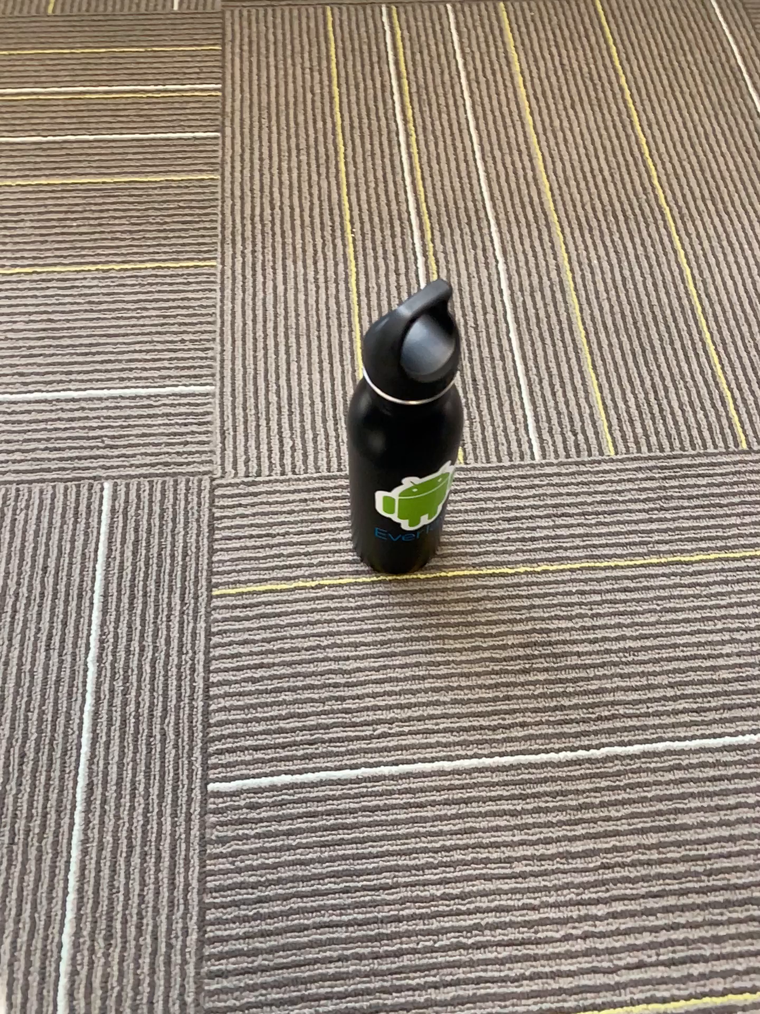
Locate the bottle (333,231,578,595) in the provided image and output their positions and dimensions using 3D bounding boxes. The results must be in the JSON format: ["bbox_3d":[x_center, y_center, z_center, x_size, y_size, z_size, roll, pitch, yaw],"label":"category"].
[{"bbox_3d":[0.032,-0.039,0.479,0.090,0.239,0.080,-23,67,-12],"label":"bottle"}]
